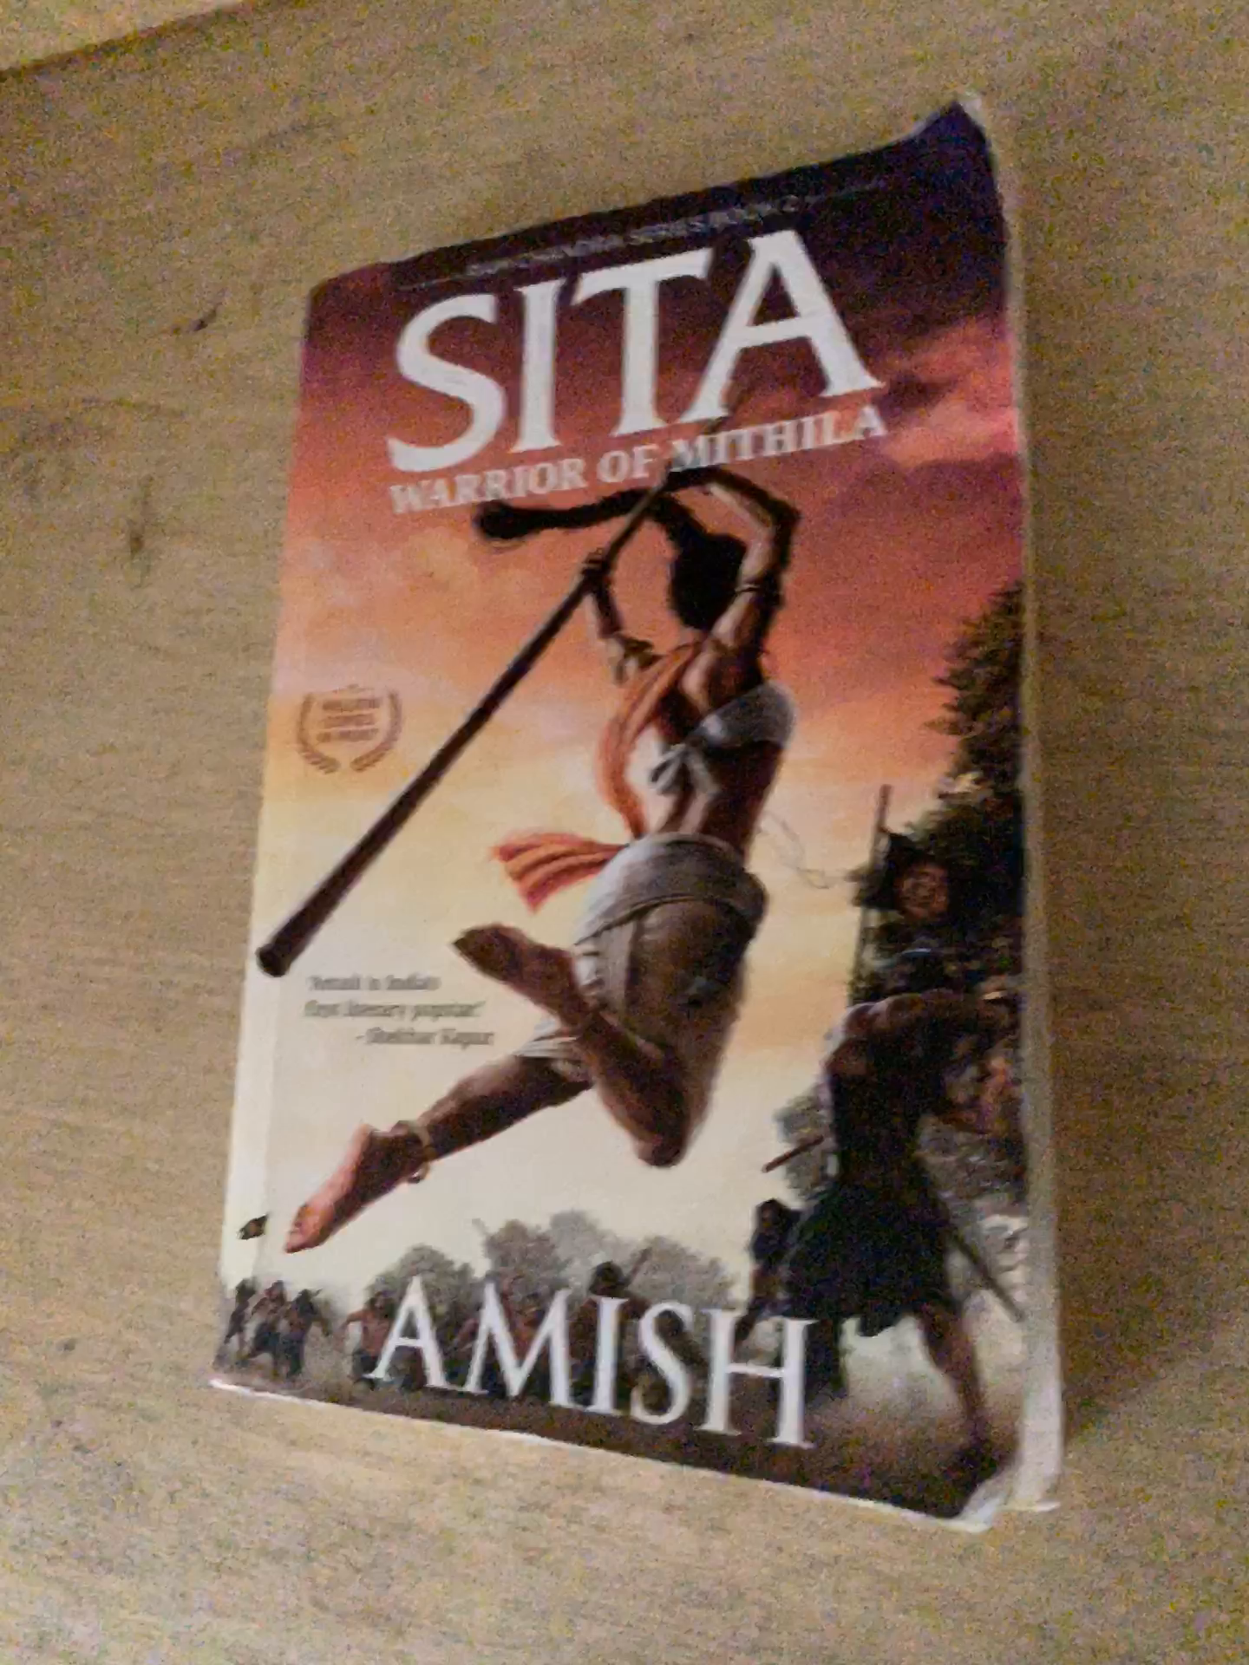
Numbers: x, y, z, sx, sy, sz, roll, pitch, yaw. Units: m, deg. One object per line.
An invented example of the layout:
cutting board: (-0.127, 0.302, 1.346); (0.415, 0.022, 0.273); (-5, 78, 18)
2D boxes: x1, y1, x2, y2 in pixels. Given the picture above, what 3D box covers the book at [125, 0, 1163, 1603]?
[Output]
book: (0.001, -0.012, 0.198); (0.140, 0.030, 0.200); (-3, 77, 23)
